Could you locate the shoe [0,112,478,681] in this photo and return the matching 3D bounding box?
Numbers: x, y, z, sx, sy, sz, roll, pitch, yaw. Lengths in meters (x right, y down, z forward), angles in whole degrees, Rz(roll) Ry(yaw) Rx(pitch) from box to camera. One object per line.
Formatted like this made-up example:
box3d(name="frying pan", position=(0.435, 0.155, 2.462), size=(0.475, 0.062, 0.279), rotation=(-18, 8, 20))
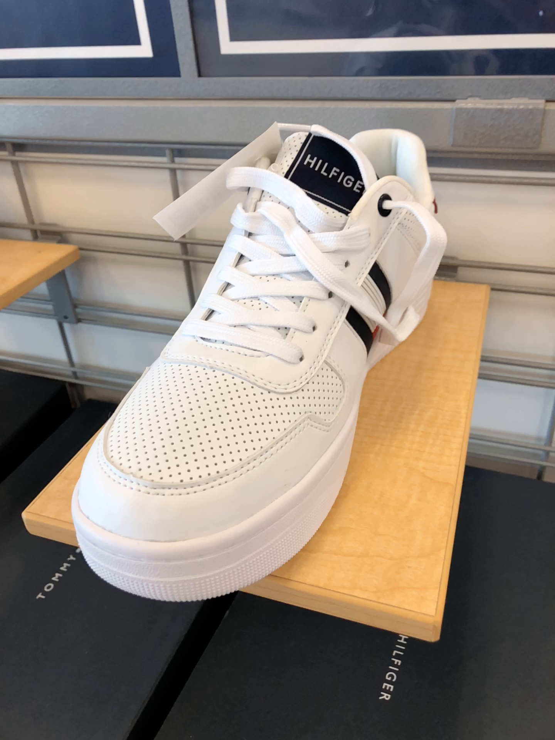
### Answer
box3d(name="shoe", position=(0.006, -0.032, 0.290), size=(0.107, 0.113, 0.282), rotation=(12, 36, 23))
